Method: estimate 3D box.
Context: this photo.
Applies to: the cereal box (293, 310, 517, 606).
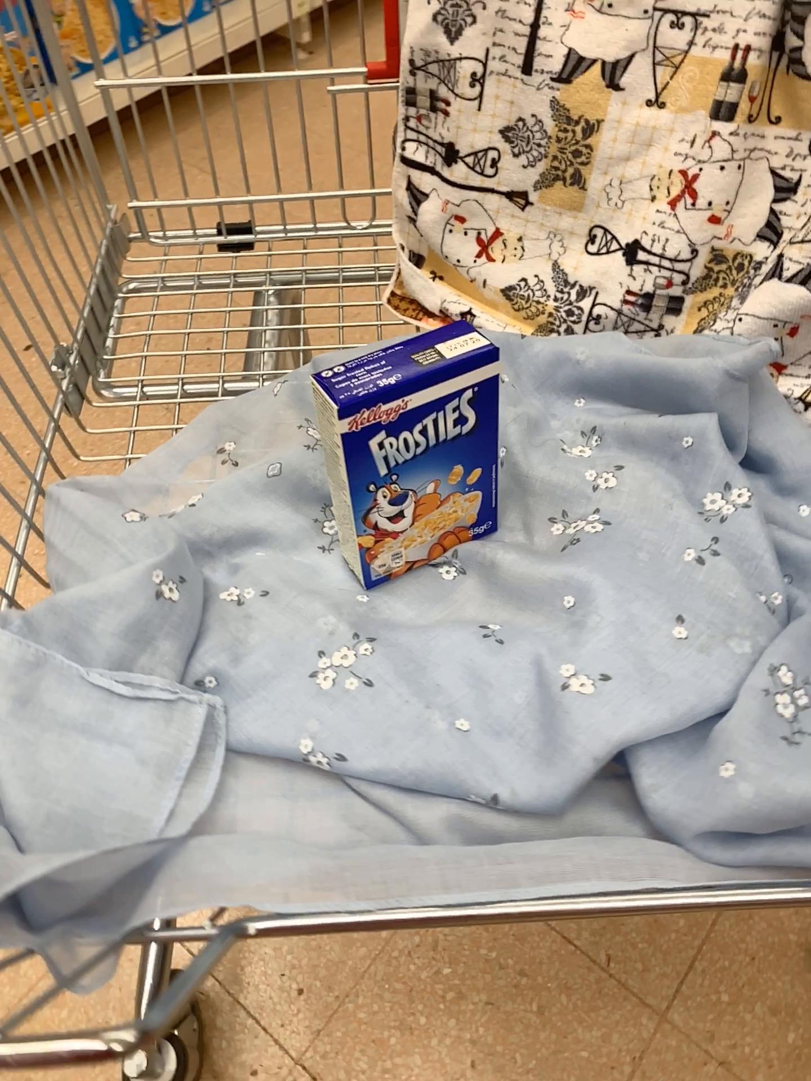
[{"bbox_3d":[0.006,-0.040,0.441,0.100,0.129,0.040,-24,48,-16],"label":"cereal box"}]
